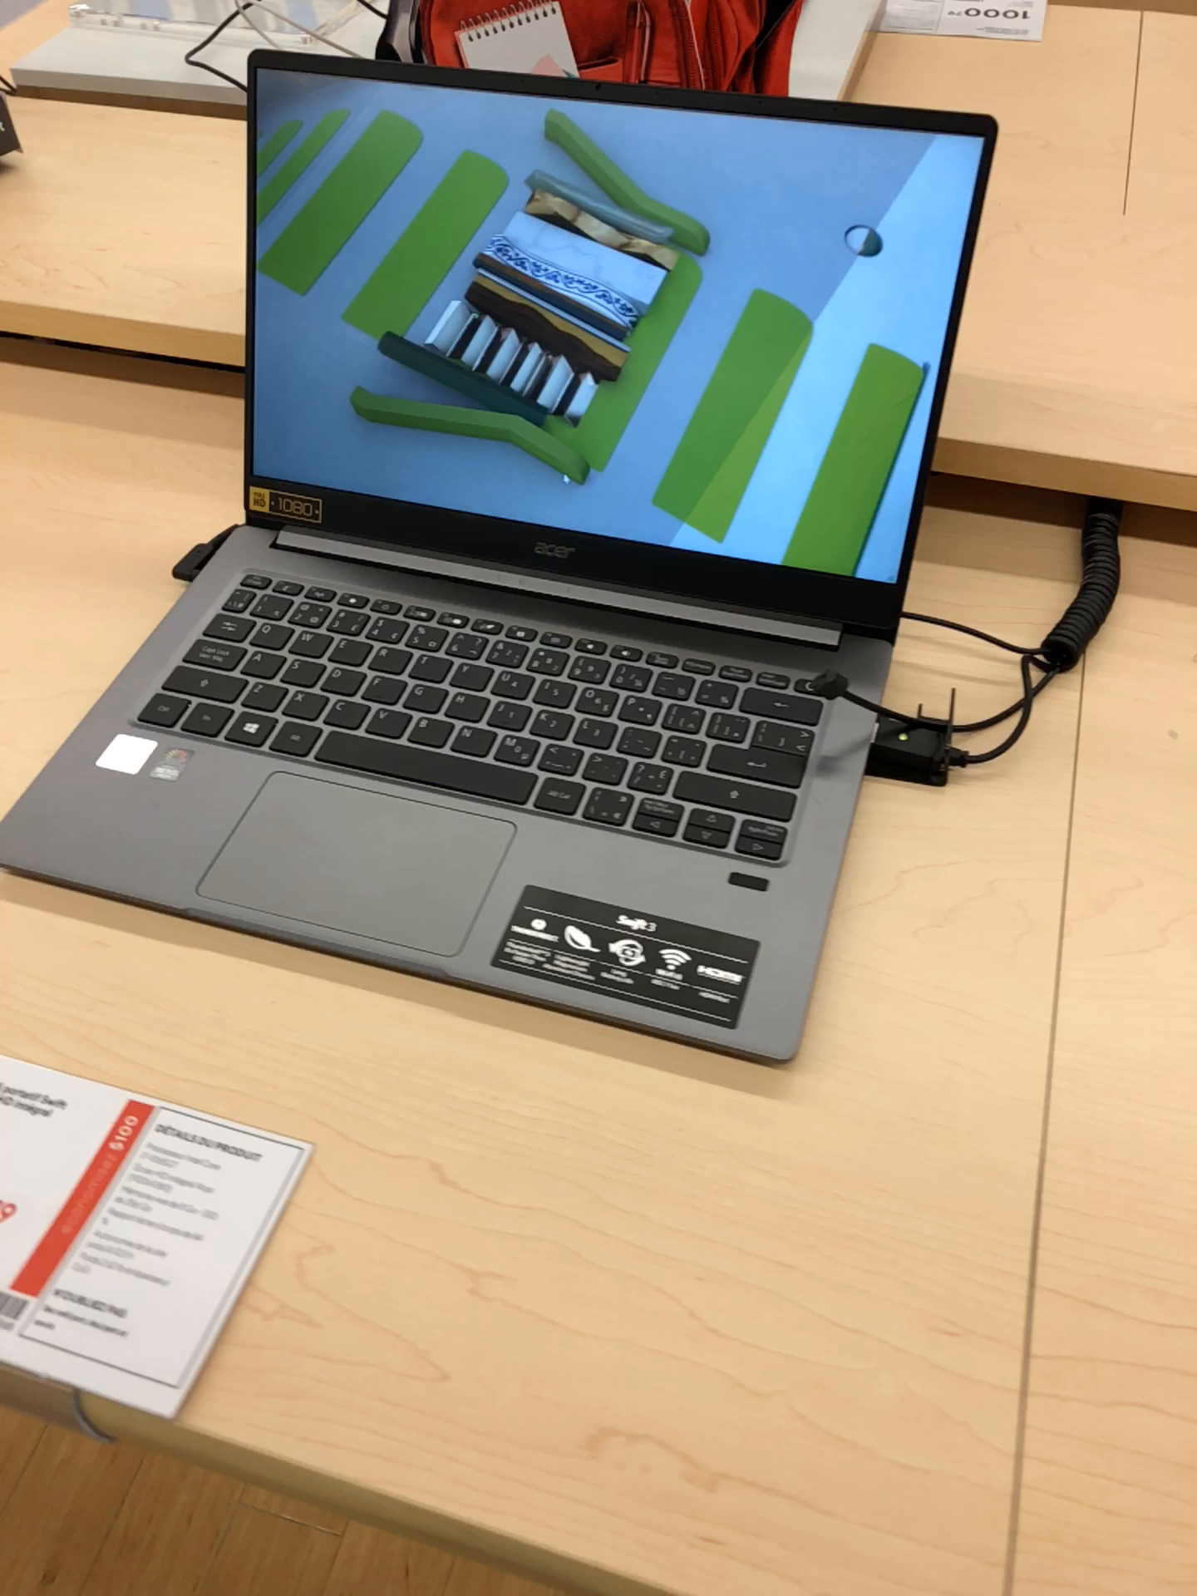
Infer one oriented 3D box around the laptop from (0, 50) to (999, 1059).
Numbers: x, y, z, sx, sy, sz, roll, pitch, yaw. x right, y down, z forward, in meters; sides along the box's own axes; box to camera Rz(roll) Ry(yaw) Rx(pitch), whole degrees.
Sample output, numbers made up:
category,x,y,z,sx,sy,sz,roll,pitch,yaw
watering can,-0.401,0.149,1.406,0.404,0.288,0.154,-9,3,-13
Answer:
category,x,y,z,sx,sy,sz,roll,pitch,yaw
laptop,-0.042,-0.118,0.501,0.315,0.177,0.312,12,50,12
